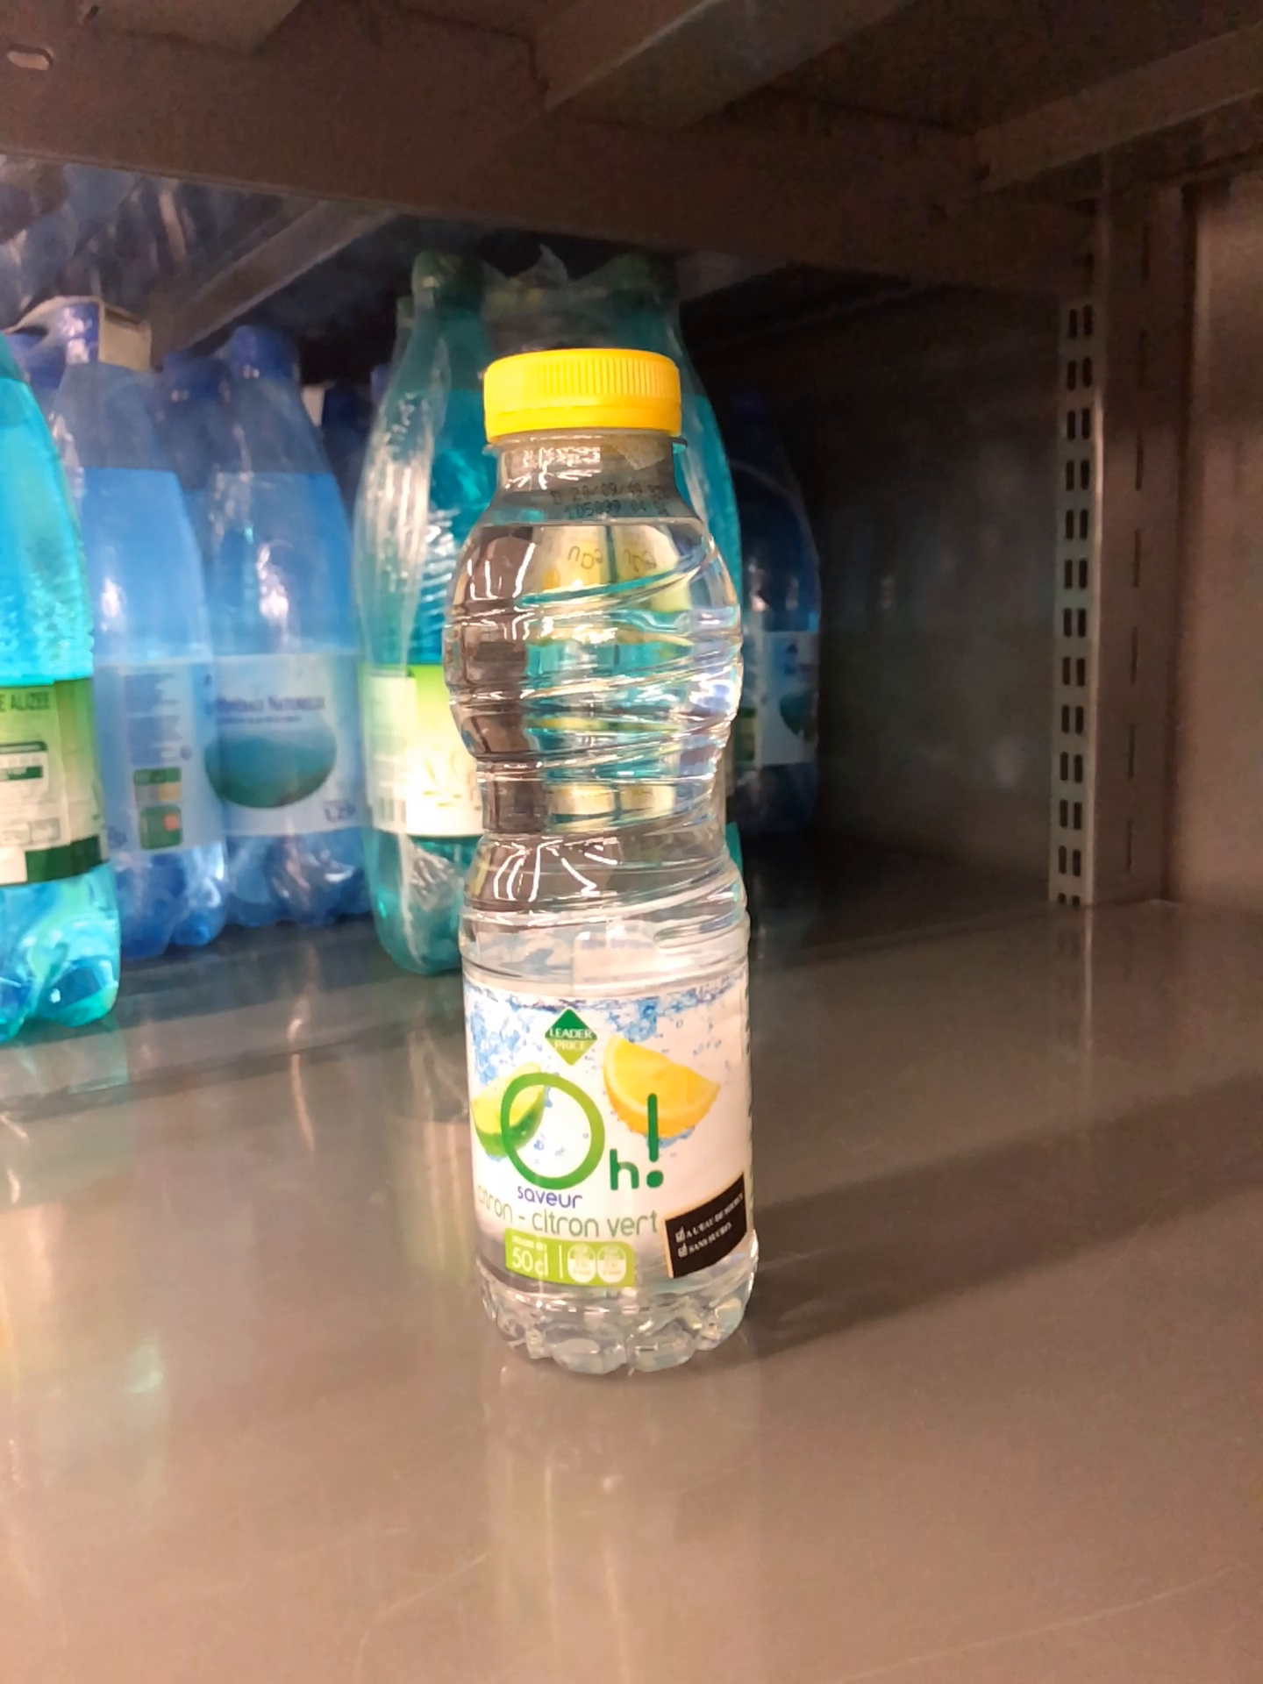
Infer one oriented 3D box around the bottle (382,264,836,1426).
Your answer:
[{"bbox_3d":[0.000,0.001,0.292,0.070,0.210,0.060,3,9,25],"label":"bottle"}]
